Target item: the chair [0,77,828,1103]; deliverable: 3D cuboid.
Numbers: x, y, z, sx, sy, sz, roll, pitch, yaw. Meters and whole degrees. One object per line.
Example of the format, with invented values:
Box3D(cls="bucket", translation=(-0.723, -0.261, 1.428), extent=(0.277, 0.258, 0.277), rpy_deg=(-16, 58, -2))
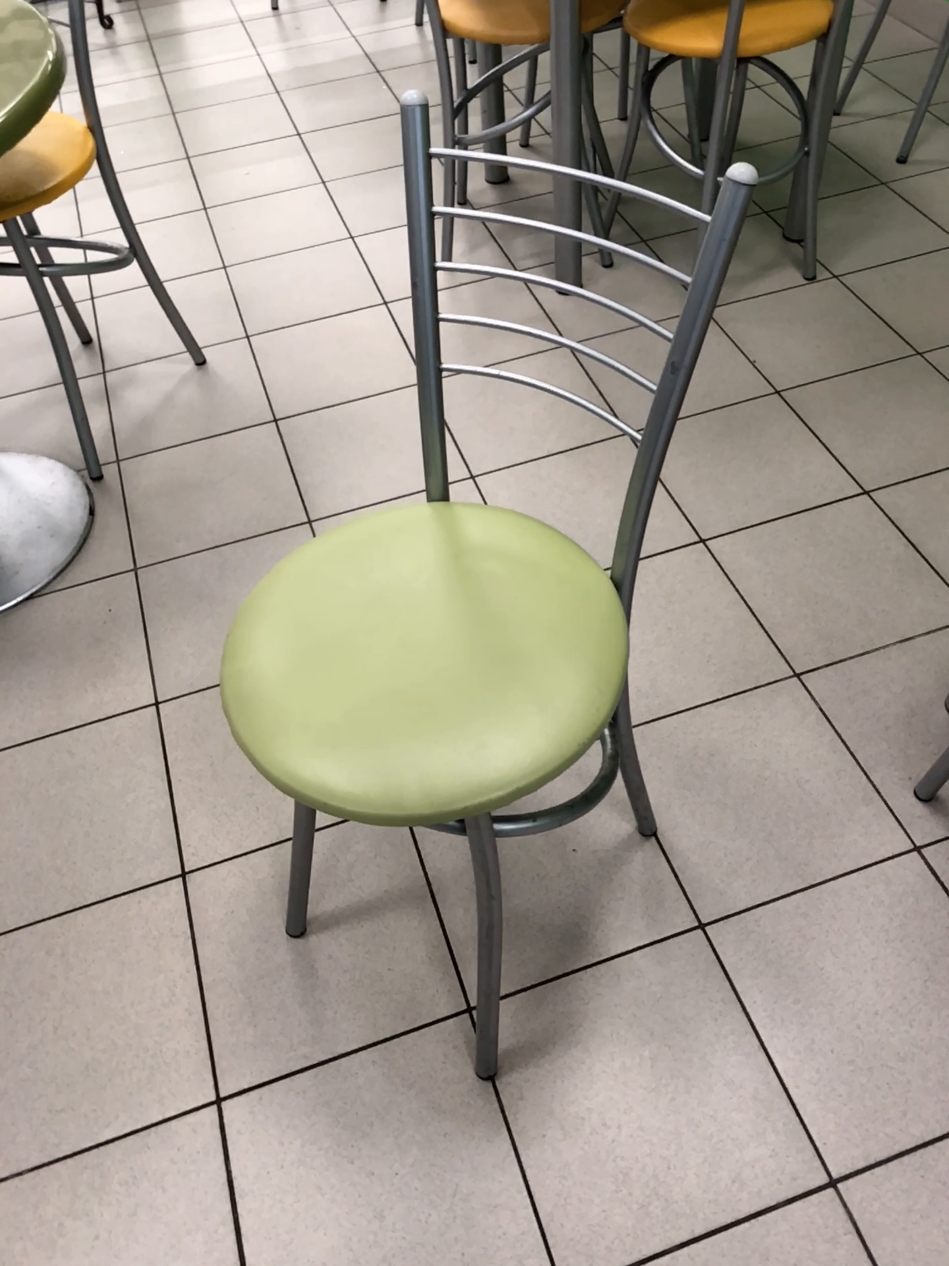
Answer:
Box3D(cls="chair", translation=(-0.008, 0.013, 1.019), extent=(0.375, 0.826, 0.481), rpy_deg=(27, 57, 25))
